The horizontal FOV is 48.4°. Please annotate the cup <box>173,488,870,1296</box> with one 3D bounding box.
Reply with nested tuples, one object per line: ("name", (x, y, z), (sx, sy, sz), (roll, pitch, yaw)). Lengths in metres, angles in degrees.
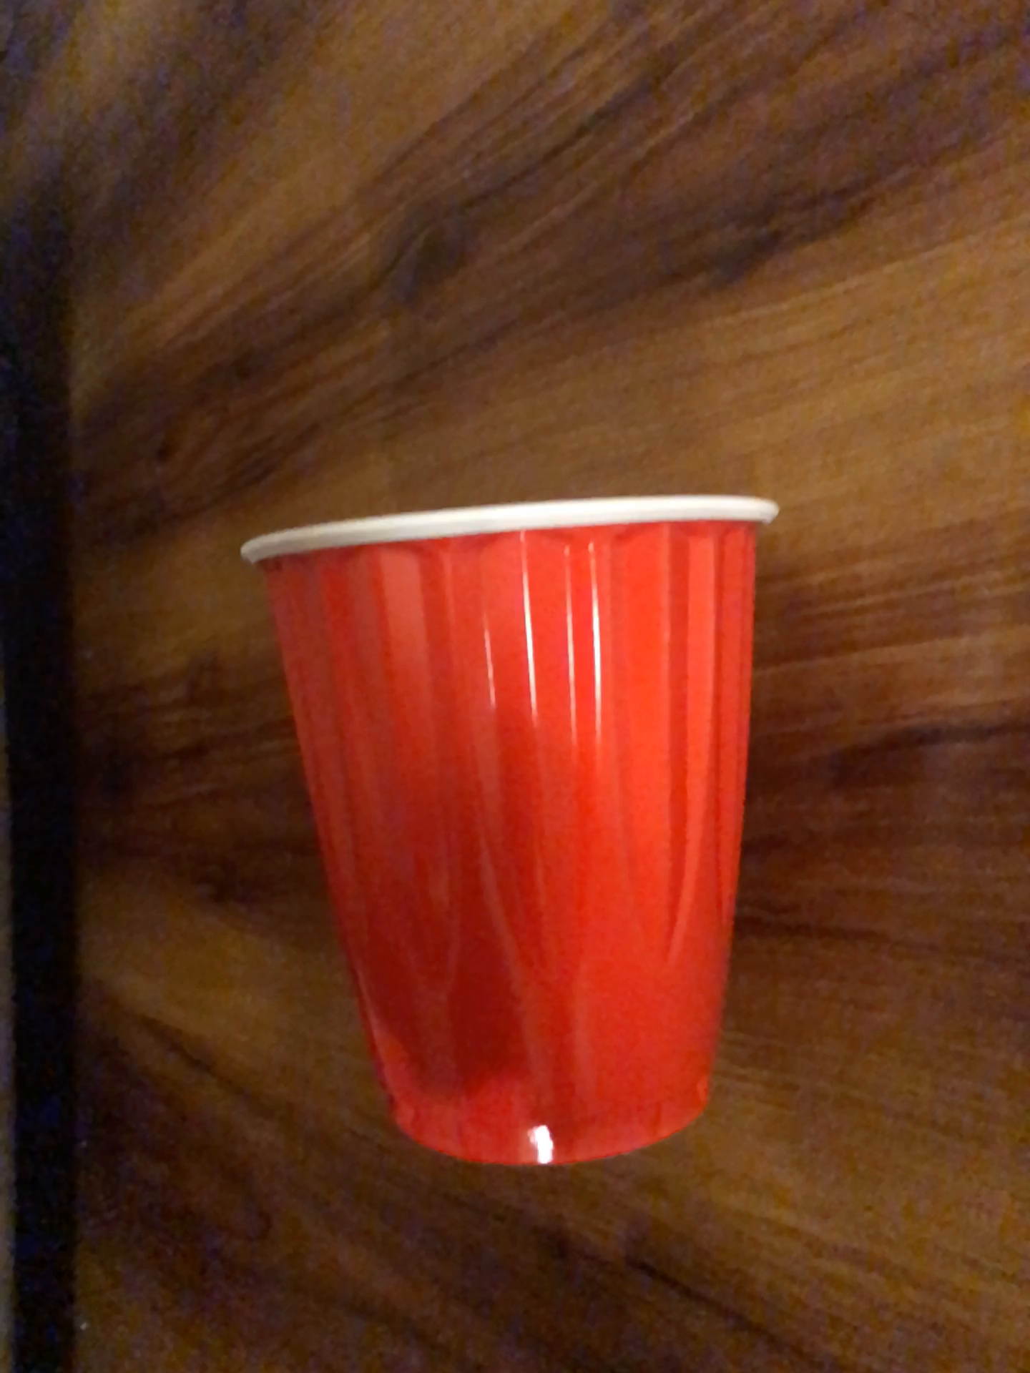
("cup", (-0.001, 0.025, 0.226), (0.100, 0.089, 0.114), (3, 98, 52))
